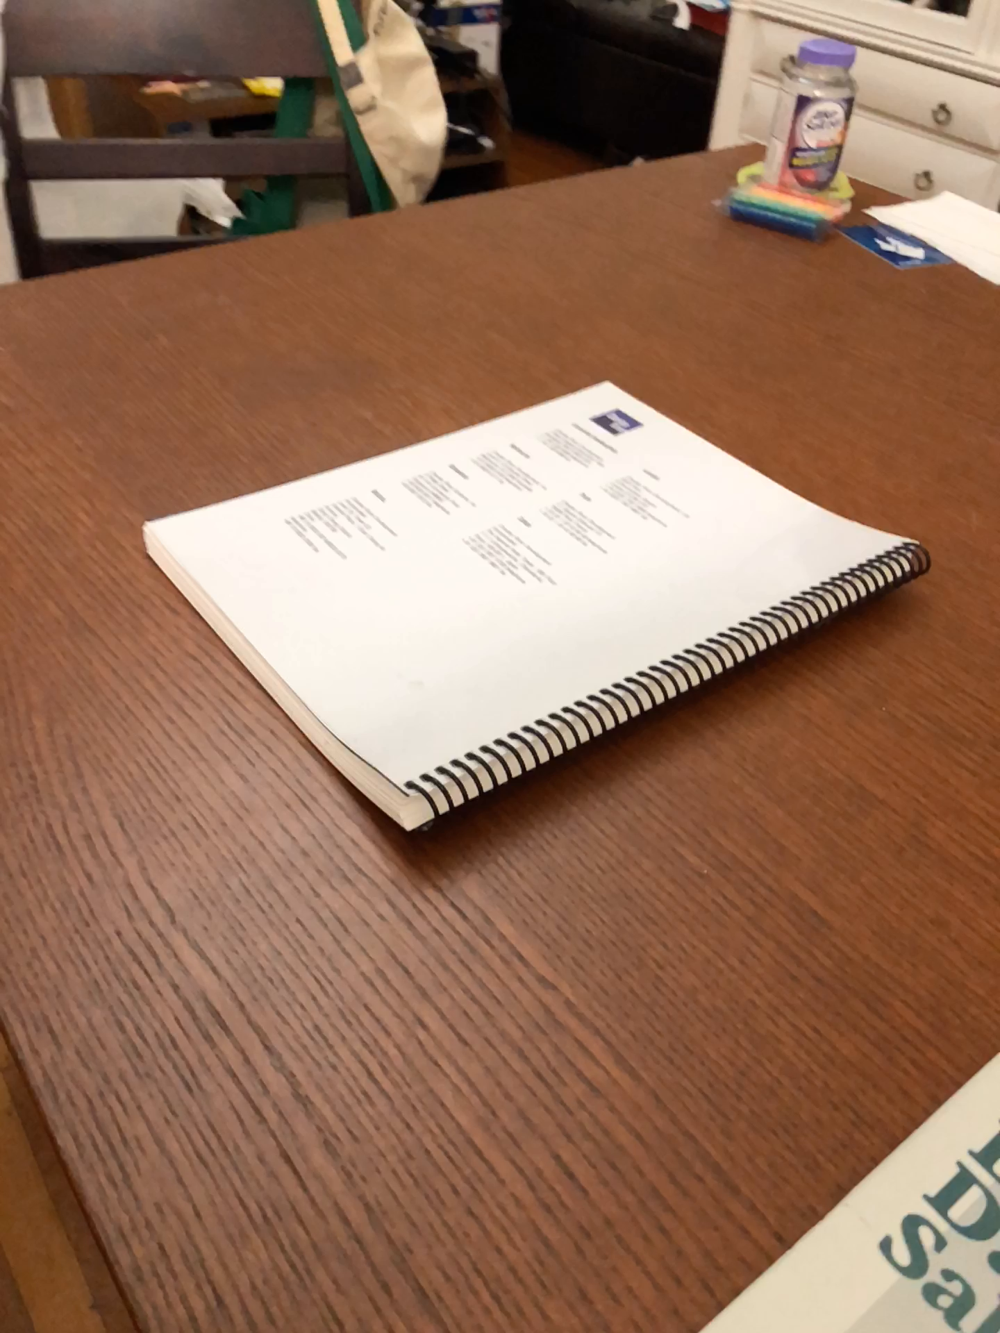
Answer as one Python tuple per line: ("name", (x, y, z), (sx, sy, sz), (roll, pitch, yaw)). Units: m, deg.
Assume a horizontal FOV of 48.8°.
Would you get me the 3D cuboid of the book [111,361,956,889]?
("book", (0.017, -0.051, 0.499), (0.301, 0.020, 0.231), (-25, 48, -29))
